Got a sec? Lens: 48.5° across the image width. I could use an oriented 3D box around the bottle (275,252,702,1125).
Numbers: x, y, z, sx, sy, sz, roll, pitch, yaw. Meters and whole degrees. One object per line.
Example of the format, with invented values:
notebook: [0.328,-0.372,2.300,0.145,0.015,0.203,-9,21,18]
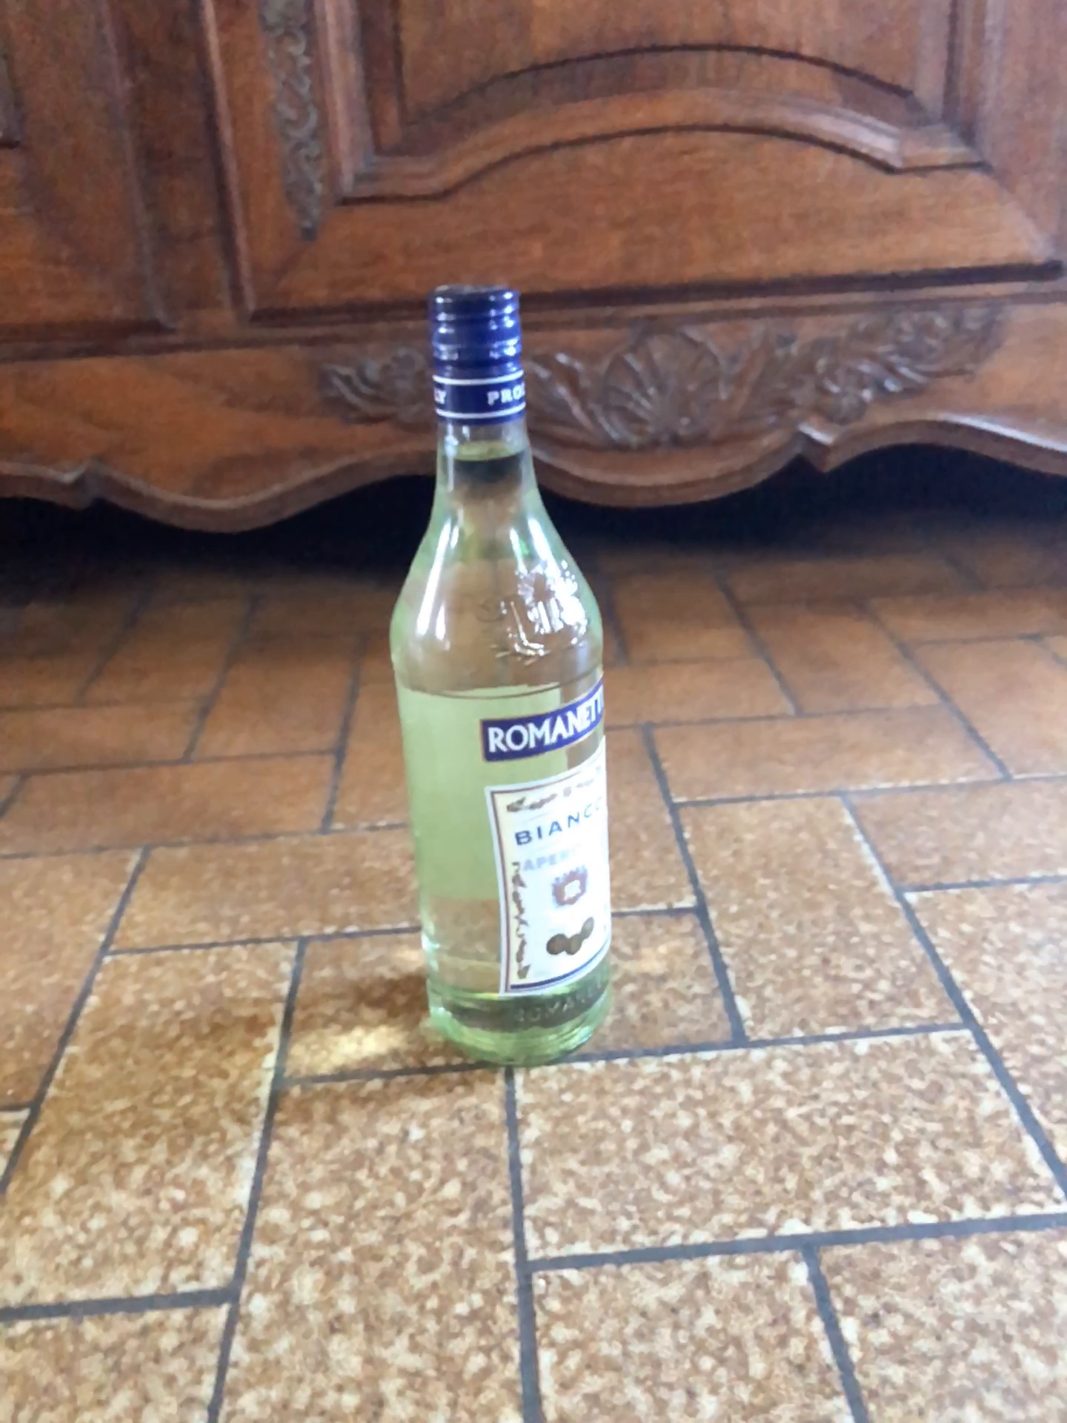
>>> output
bottle: [-0.009,-0.008,0.450,0.100,0.298,0.100,-3,26,1]
